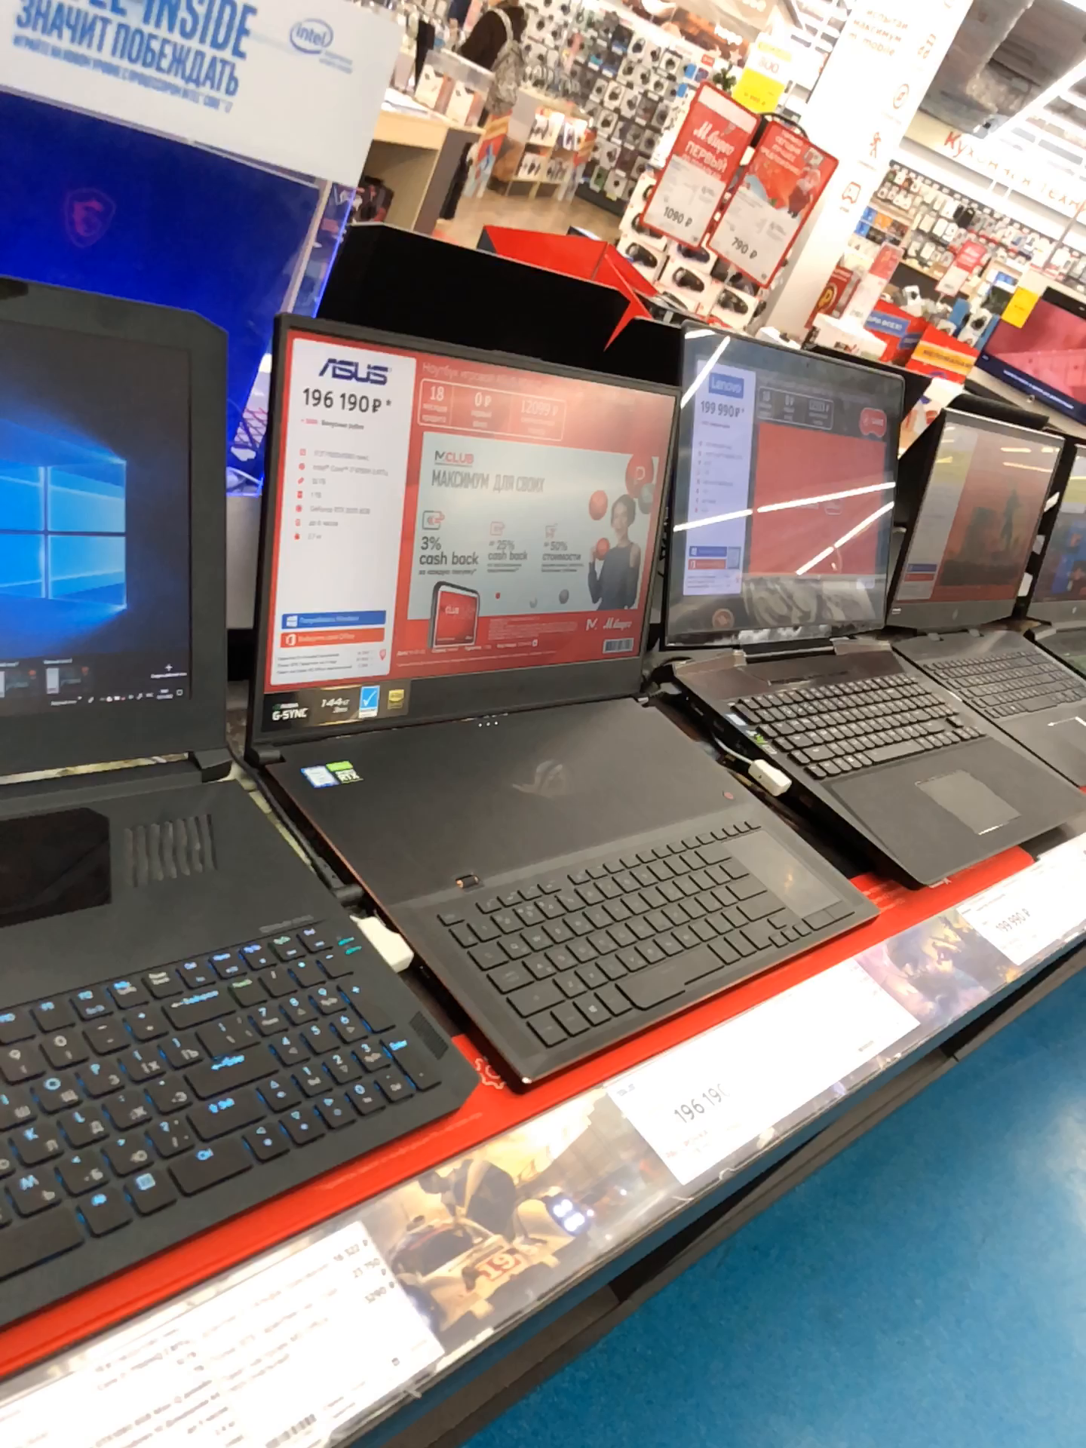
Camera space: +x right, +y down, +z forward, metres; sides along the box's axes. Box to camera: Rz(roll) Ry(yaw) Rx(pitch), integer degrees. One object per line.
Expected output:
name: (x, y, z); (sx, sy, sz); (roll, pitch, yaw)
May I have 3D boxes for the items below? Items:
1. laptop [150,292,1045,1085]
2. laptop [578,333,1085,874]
laptop: (0.039, -0.050, 0.780); (0.377, 0.240, 0.392); (43, 31, 28)
laptop: (0.343, -0.130, 1.113); (0.376, 0.248, 0.412); (-9, 45, -46)
